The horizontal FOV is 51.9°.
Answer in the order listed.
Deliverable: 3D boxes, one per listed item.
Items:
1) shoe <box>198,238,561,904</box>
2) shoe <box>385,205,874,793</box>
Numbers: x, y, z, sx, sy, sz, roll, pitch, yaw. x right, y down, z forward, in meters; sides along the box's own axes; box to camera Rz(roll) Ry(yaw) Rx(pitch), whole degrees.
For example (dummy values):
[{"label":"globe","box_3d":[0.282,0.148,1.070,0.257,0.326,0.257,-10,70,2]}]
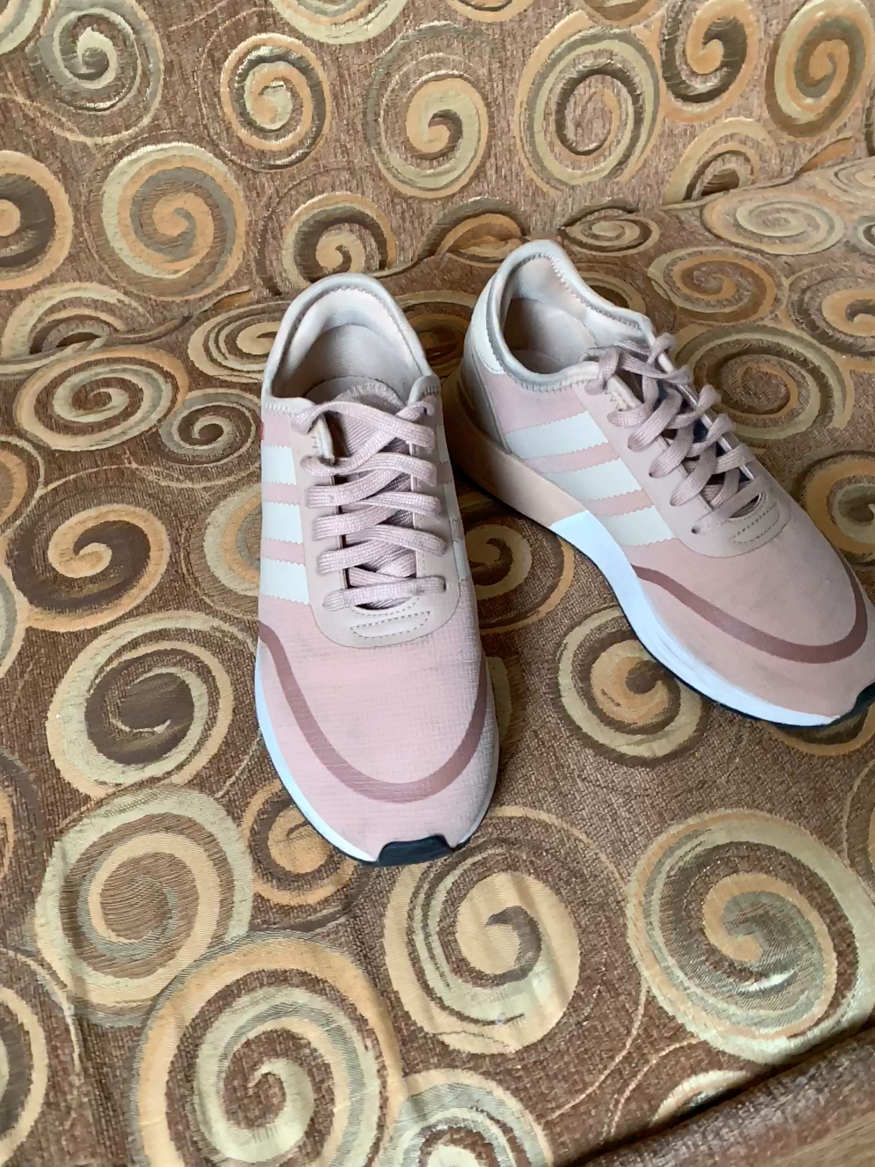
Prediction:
[{"label":"shoe","box_3d":[-0.034,-0.017,0.364,0.100,0.090,0.251,-7,58,-6]},{"label":"shoe","box_3d":[0.096,-0.047,0.397,0.100,0.090,0.250,-36,65,-21]}]
